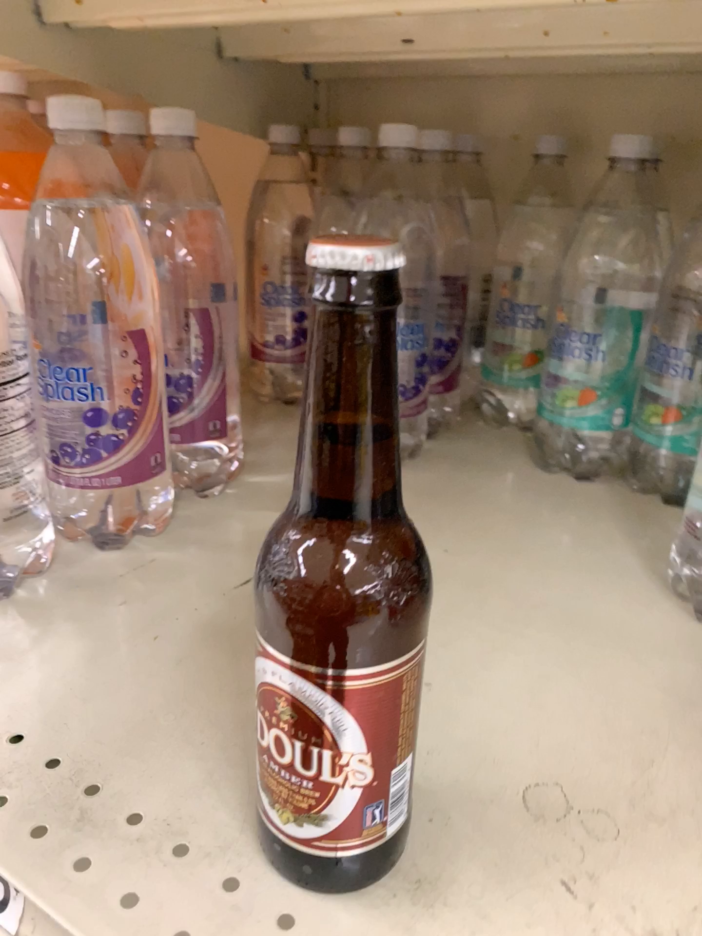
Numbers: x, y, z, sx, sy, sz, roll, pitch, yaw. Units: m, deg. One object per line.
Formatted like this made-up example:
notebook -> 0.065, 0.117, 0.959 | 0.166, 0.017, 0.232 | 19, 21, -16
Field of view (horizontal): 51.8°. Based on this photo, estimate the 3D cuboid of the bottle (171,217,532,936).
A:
bottle -> -0.002, 0.036, 0.242 | 0.070, 0.219, 0.070 | 2, 24, -1
